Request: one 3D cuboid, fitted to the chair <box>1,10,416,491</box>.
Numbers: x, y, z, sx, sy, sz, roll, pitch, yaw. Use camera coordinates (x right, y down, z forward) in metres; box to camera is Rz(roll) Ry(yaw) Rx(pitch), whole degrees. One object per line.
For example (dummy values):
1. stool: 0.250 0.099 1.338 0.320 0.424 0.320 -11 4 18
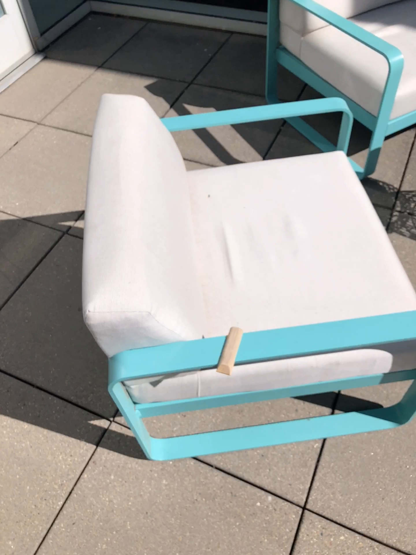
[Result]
1. chair: 0.084 -0.075 1.263 0.870 0.767 0.903 -10 51 -3
